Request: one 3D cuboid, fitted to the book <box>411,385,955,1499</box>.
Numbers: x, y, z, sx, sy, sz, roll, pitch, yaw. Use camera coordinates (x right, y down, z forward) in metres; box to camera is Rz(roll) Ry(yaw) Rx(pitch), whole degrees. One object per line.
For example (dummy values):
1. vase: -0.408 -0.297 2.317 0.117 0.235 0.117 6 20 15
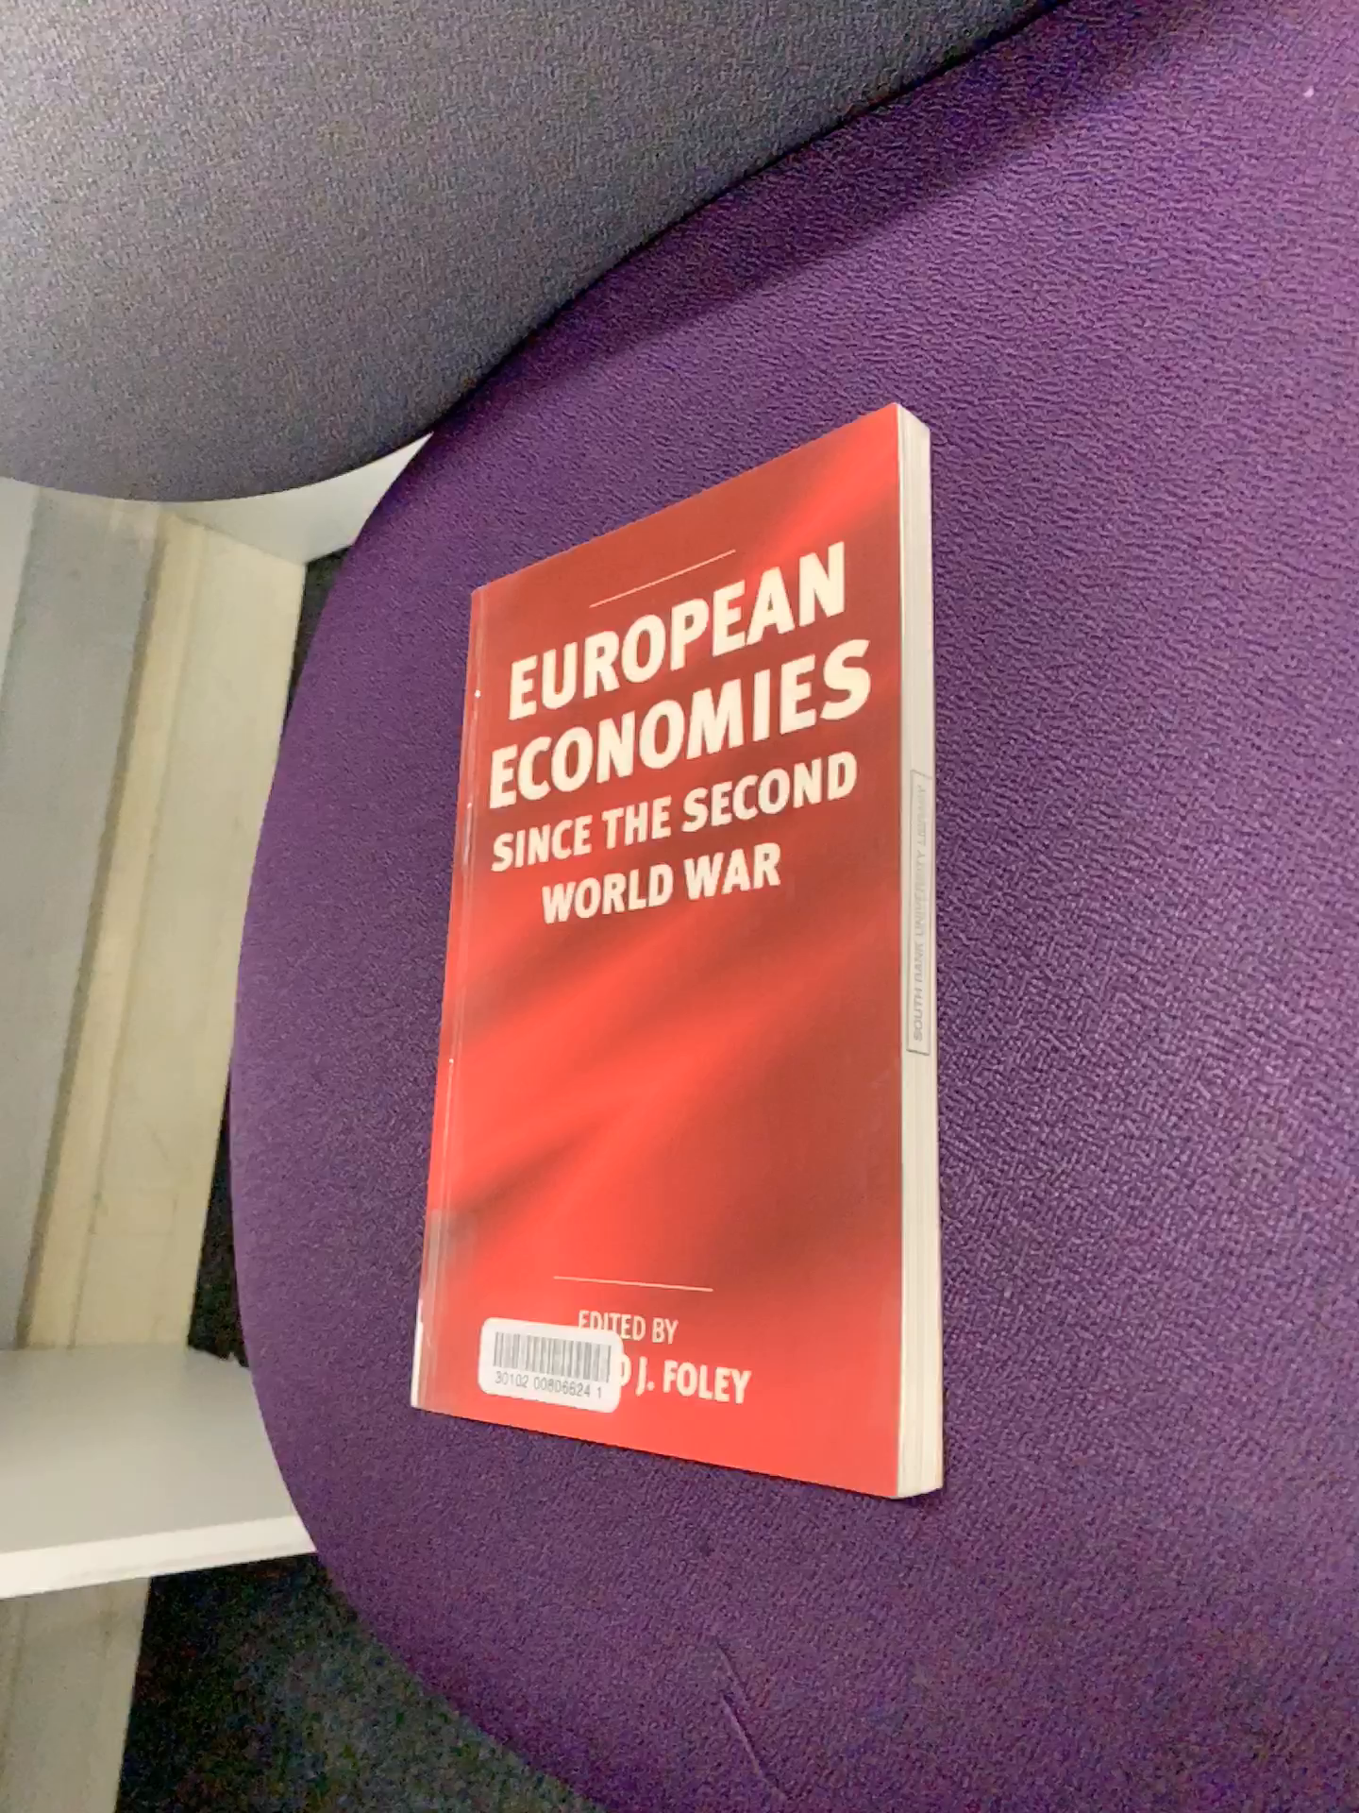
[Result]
1. book: -0.003 0.008 0.334 0.149 0.020 0.225 -10 72 44
